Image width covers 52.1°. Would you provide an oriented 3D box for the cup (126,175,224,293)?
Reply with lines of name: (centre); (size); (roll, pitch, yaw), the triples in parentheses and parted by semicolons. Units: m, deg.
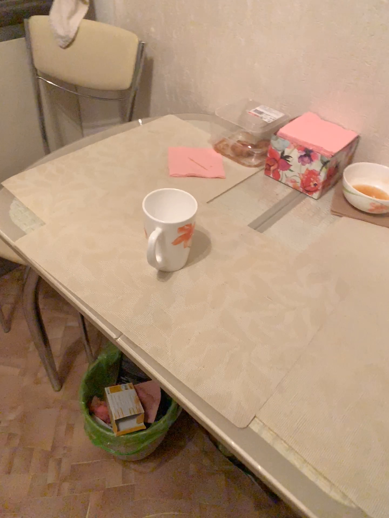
cup: (-0.026, -0.039, 0.579); (0.090, 0.099, 0.121); (19, 46, 15)
